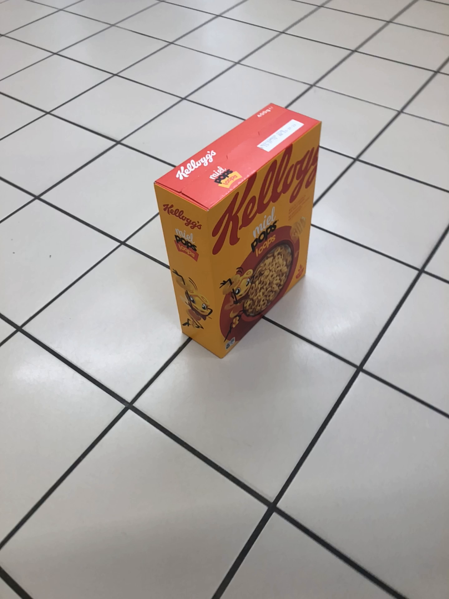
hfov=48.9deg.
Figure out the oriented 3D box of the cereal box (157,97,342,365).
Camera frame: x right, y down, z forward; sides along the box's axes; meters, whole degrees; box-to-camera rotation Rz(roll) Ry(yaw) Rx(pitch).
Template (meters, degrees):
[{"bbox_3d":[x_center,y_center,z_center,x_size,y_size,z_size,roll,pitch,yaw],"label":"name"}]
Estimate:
[{"bbox_3d":[0.034,-0.075,0.589,0.090,0.239,0.191,31,57,25],"label":"cereal box"}]
